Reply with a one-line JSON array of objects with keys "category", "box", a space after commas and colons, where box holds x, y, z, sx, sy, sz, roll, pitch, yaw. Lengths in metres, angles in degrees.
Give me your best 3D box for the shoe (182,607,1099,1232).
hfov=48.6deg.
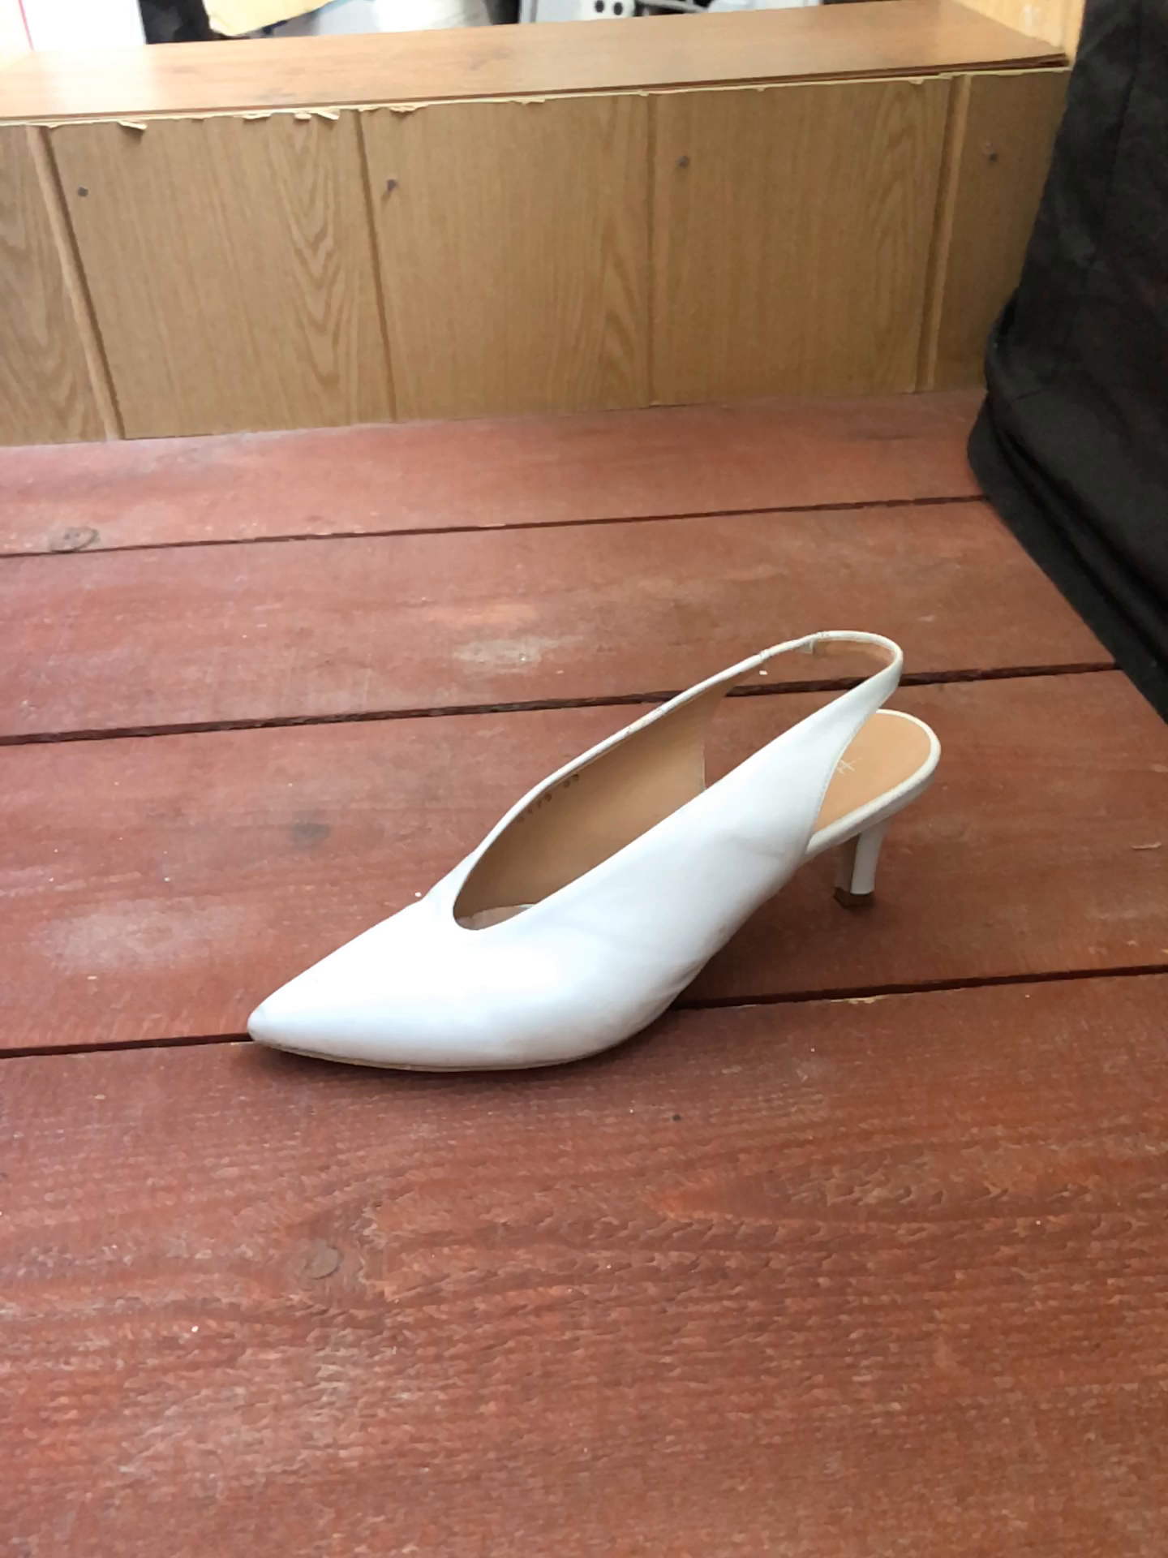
[{"category": "shoe", "box": [0.016, 0.030, 0.390, 0.240, 0.080, 0.100, -15, 37, -16]}]
